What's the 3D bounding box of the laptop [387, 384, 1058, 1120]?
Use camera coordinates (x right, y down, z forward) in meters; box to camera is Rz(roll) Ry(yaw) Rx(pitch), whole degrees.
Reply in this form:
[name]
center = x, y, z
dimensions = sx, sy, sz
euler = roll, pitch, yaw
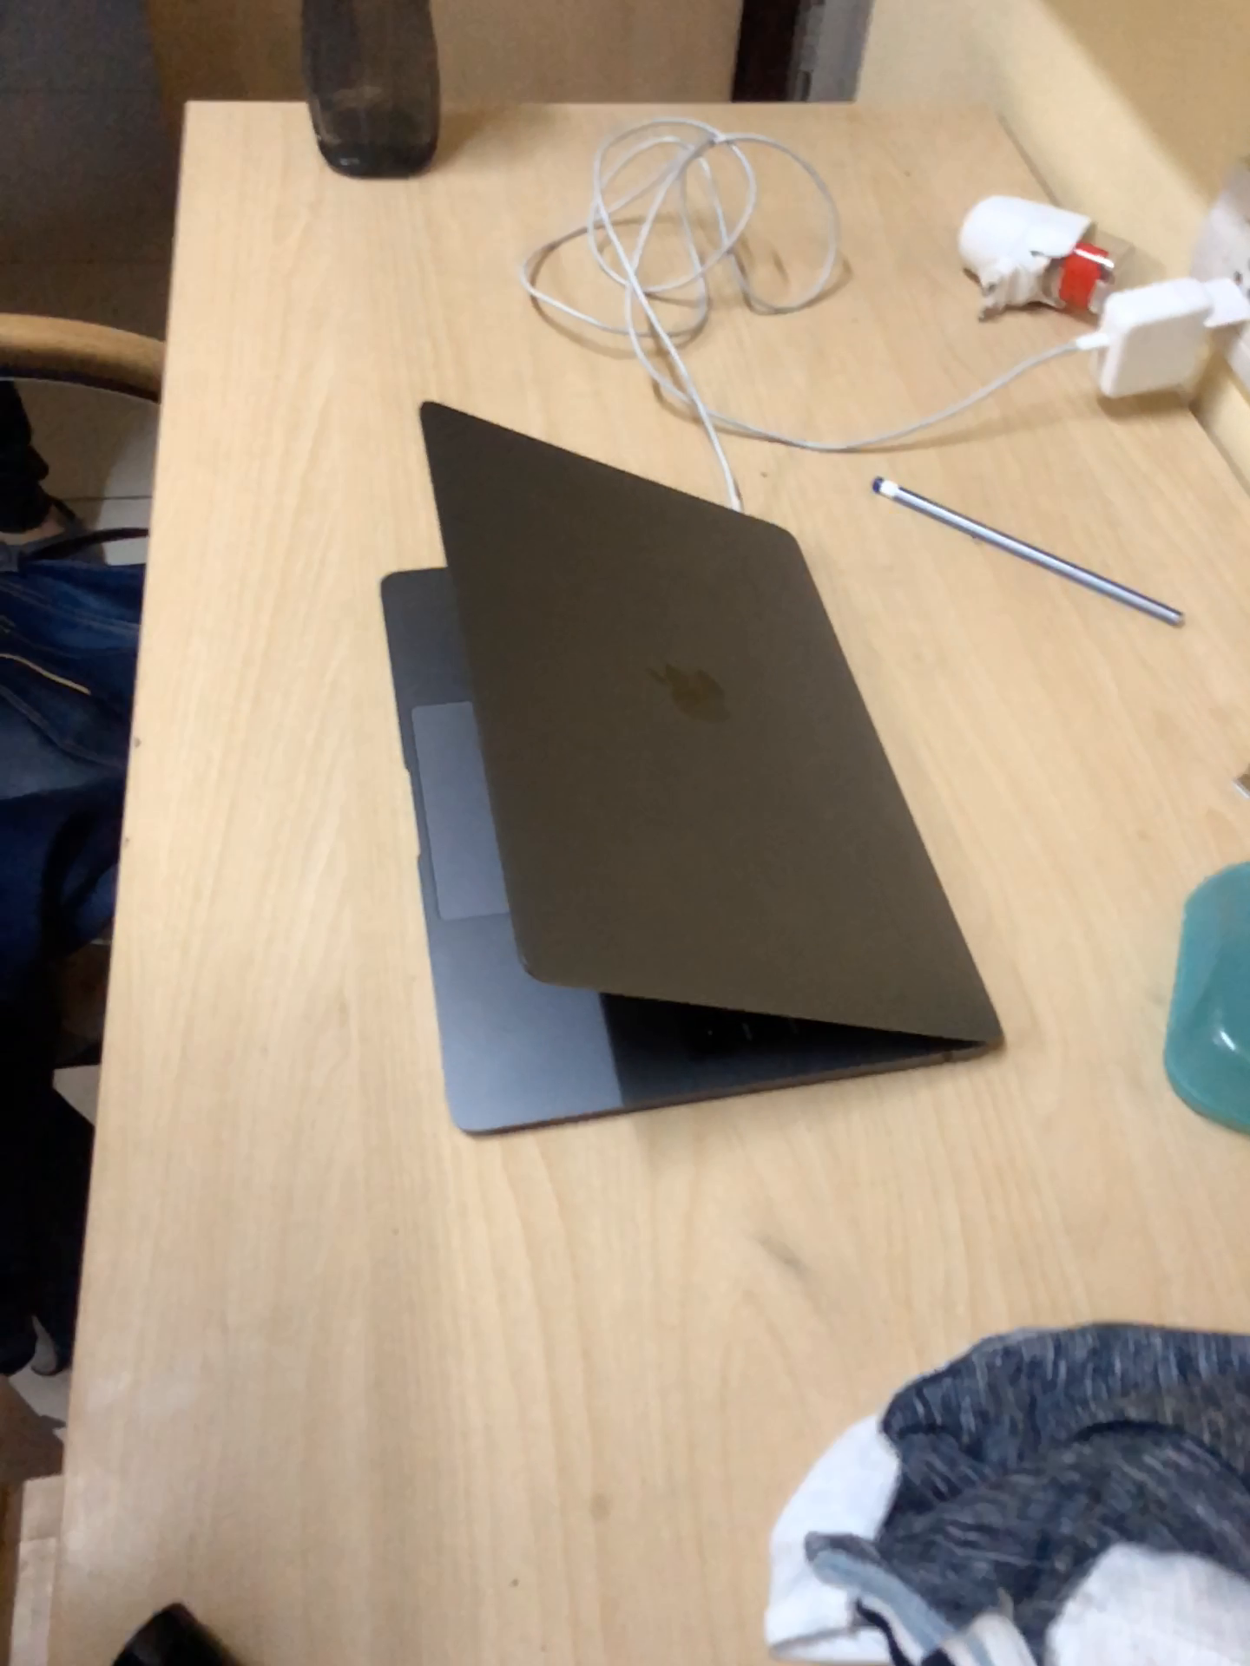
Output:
[laptop]
center = 0.015, -0.051, 0.560
dimensions = 0.193, 0.094, 0.295
euler = -7, 52, -9
